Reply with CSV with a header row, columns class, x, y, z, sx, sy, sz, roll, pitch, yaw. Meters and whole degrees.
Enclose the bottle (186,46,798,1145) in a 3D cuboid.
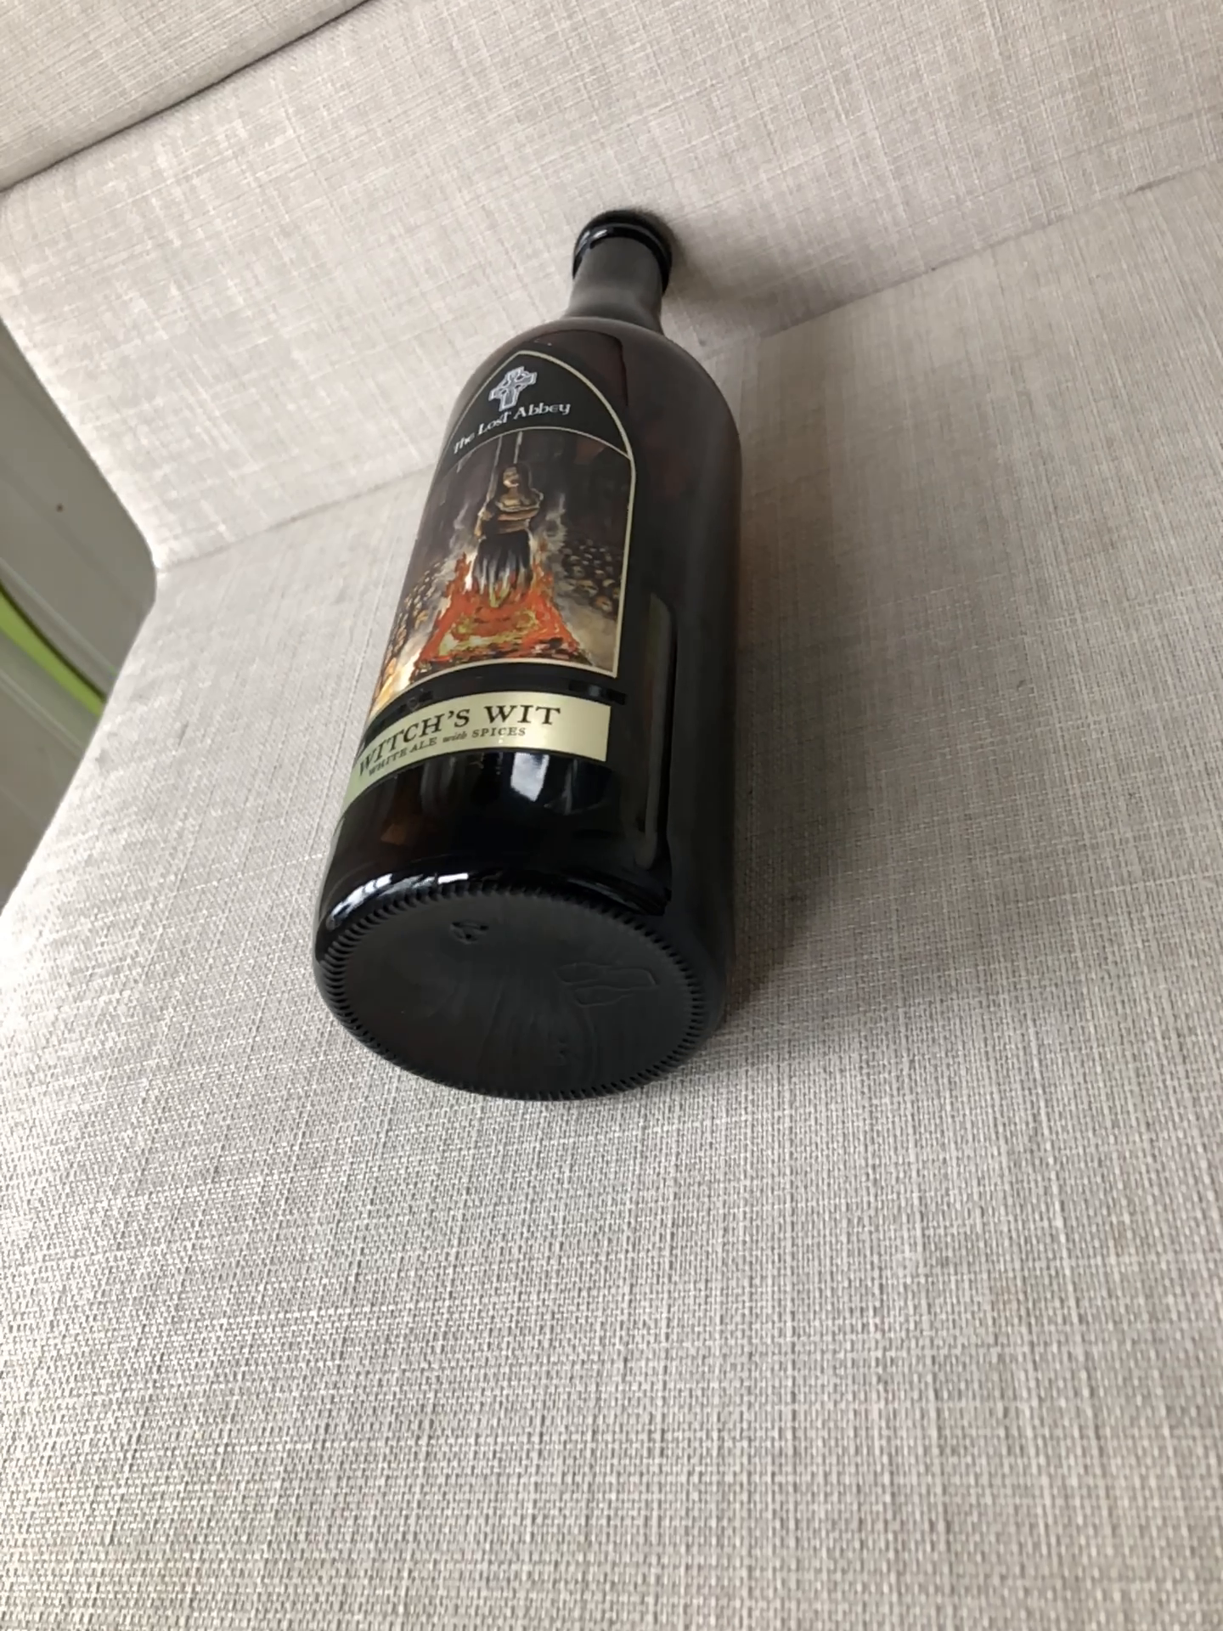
class,x,y,z,sx,sy,sz,roll,pitch,yaw
bottle,-0.010,-0.073,0.331,0.080,0.079,0.282,-15,47,21
